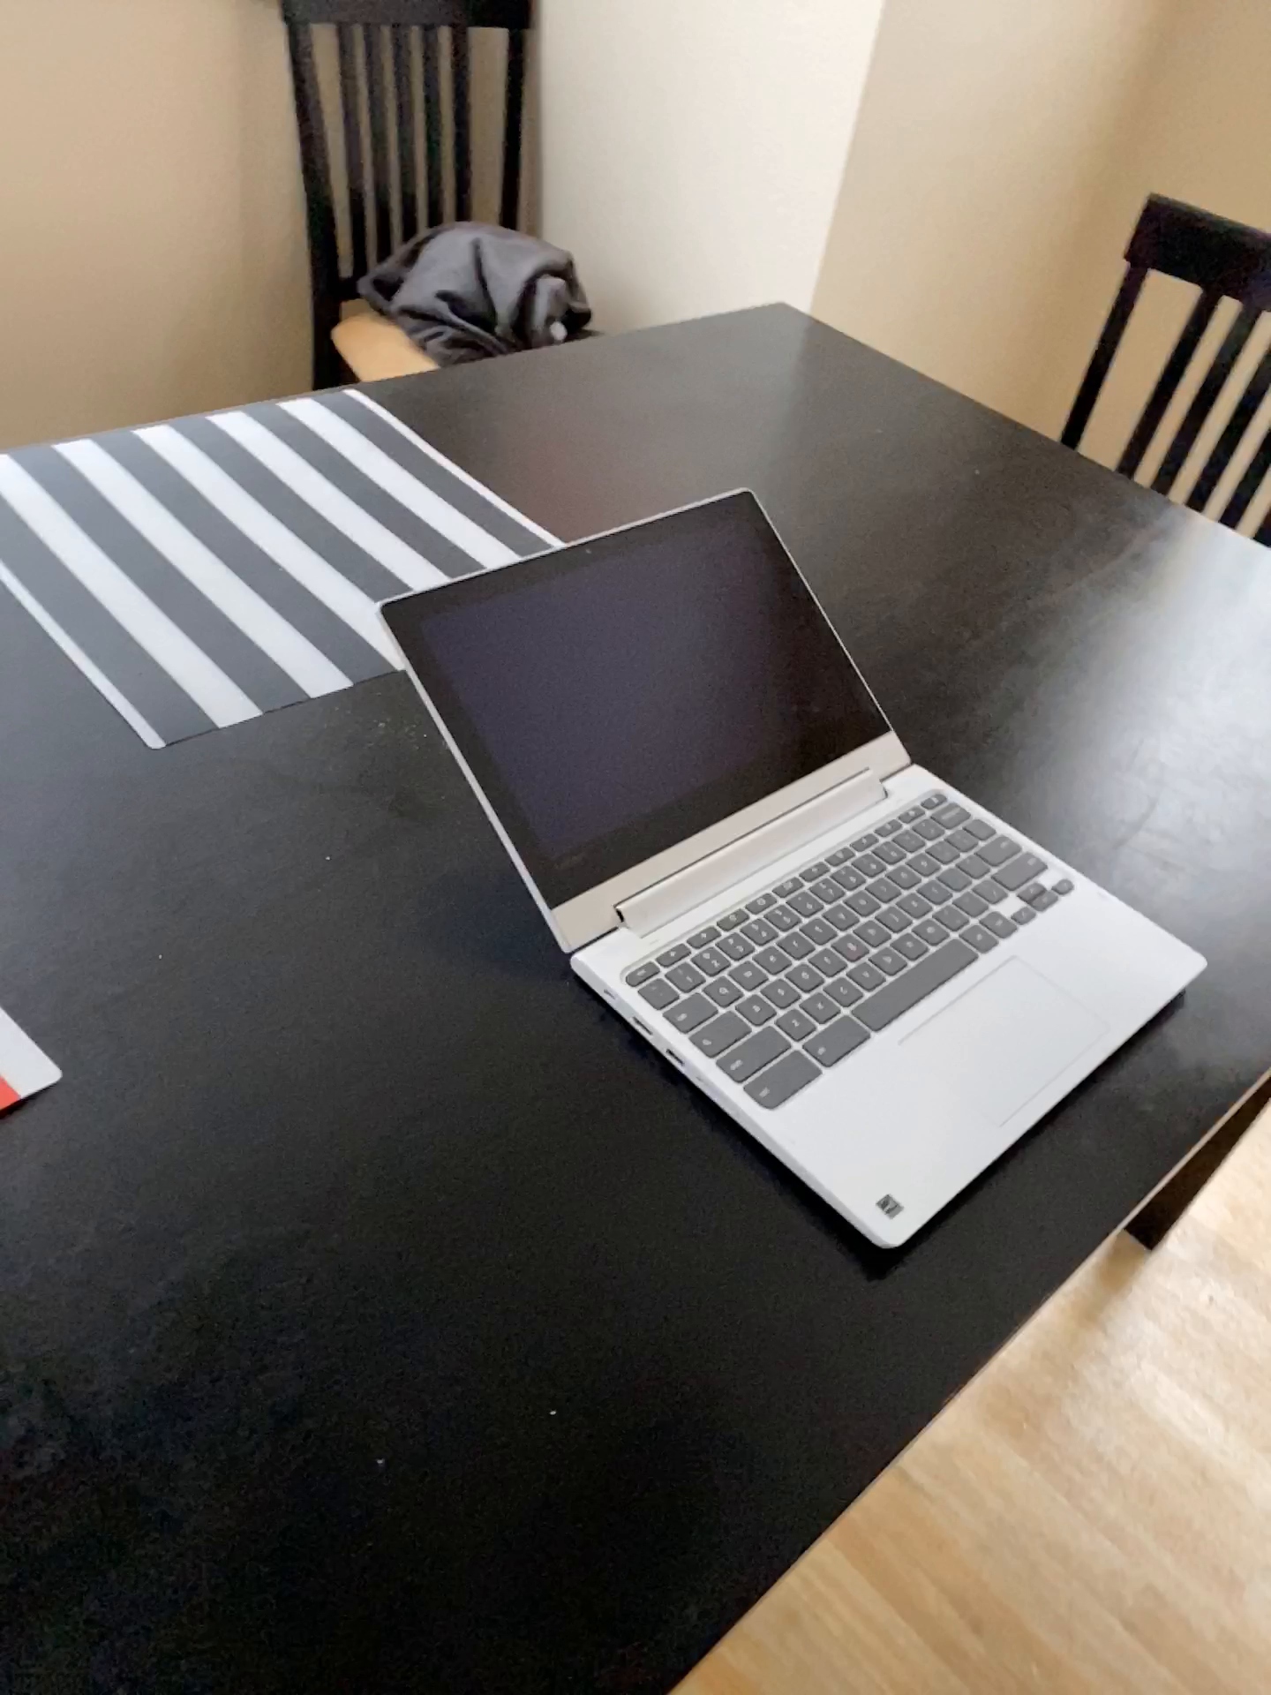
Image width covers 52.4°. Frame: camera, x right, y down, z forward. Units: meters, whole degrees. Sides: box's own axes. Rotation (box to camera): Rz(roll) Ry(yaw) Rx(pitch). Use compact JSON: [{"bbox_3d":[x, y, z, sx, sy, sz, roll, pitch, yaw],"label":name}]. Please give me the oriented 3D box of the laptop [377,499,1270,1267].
[{"bbox_3d":[0.096,-0.024,0.676,0.286,0.105,0.381,-27,53,-36],"label":"laptop"}]
